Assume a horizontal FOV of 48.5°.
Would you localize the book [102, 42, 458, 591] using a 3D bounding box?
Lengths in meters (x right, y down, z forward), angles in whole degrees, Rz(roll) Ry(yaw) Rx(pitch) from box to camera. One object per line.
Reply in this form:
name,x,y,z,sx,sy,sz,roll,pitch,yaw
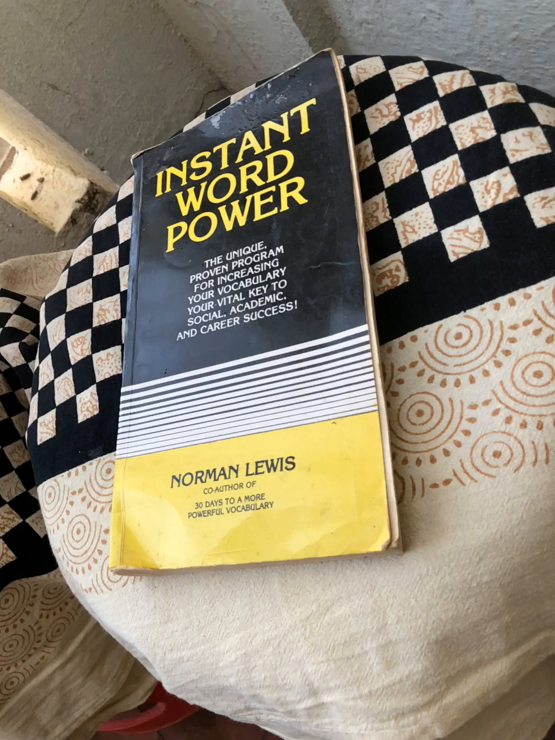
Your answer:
book,-0.005,-0.042,0.351,0.160,0.040,0.300,-16,56,26
